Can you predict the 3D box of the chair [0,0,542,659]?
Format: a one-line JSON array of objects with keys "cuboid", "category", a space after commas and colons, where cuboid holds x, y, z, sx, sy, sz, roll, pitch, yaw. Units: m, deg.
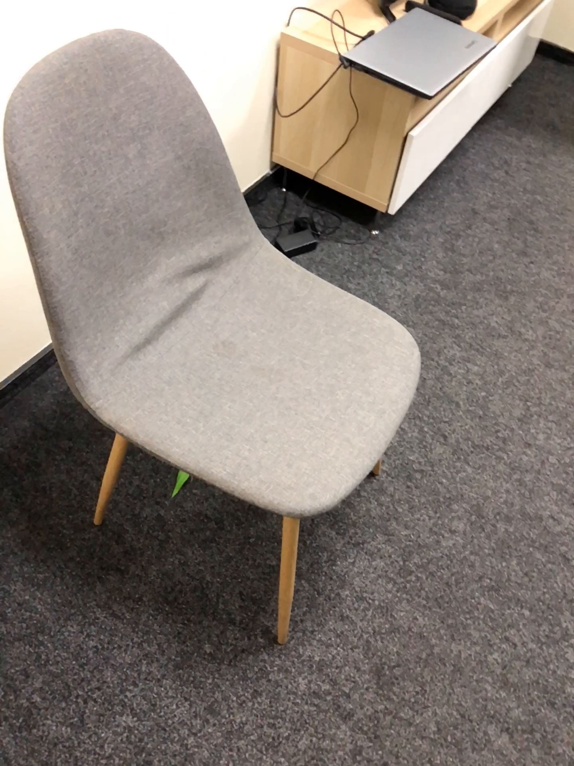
[{"cuboid": [-0.105, -0.039, 1.001, 0.600, 0.786, 0.472, 27, 55, 14], "category": "chair"}]
